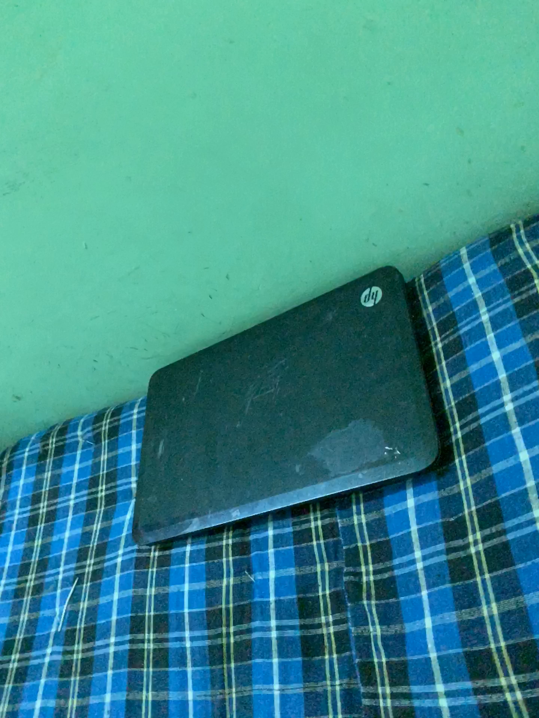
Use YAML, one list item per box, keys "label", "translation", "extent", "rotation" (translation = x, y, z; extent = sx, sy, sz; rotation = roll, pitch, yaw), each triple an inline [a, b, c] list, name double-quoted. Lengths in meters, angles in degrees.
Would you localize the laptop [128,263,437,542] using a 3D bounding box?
- label: "laptop"
  translation: [-0.011, 0.053, 0.595]
  extent: [0.348, 0.018, 0.217]
  rotation: [-23, 50, 27]
